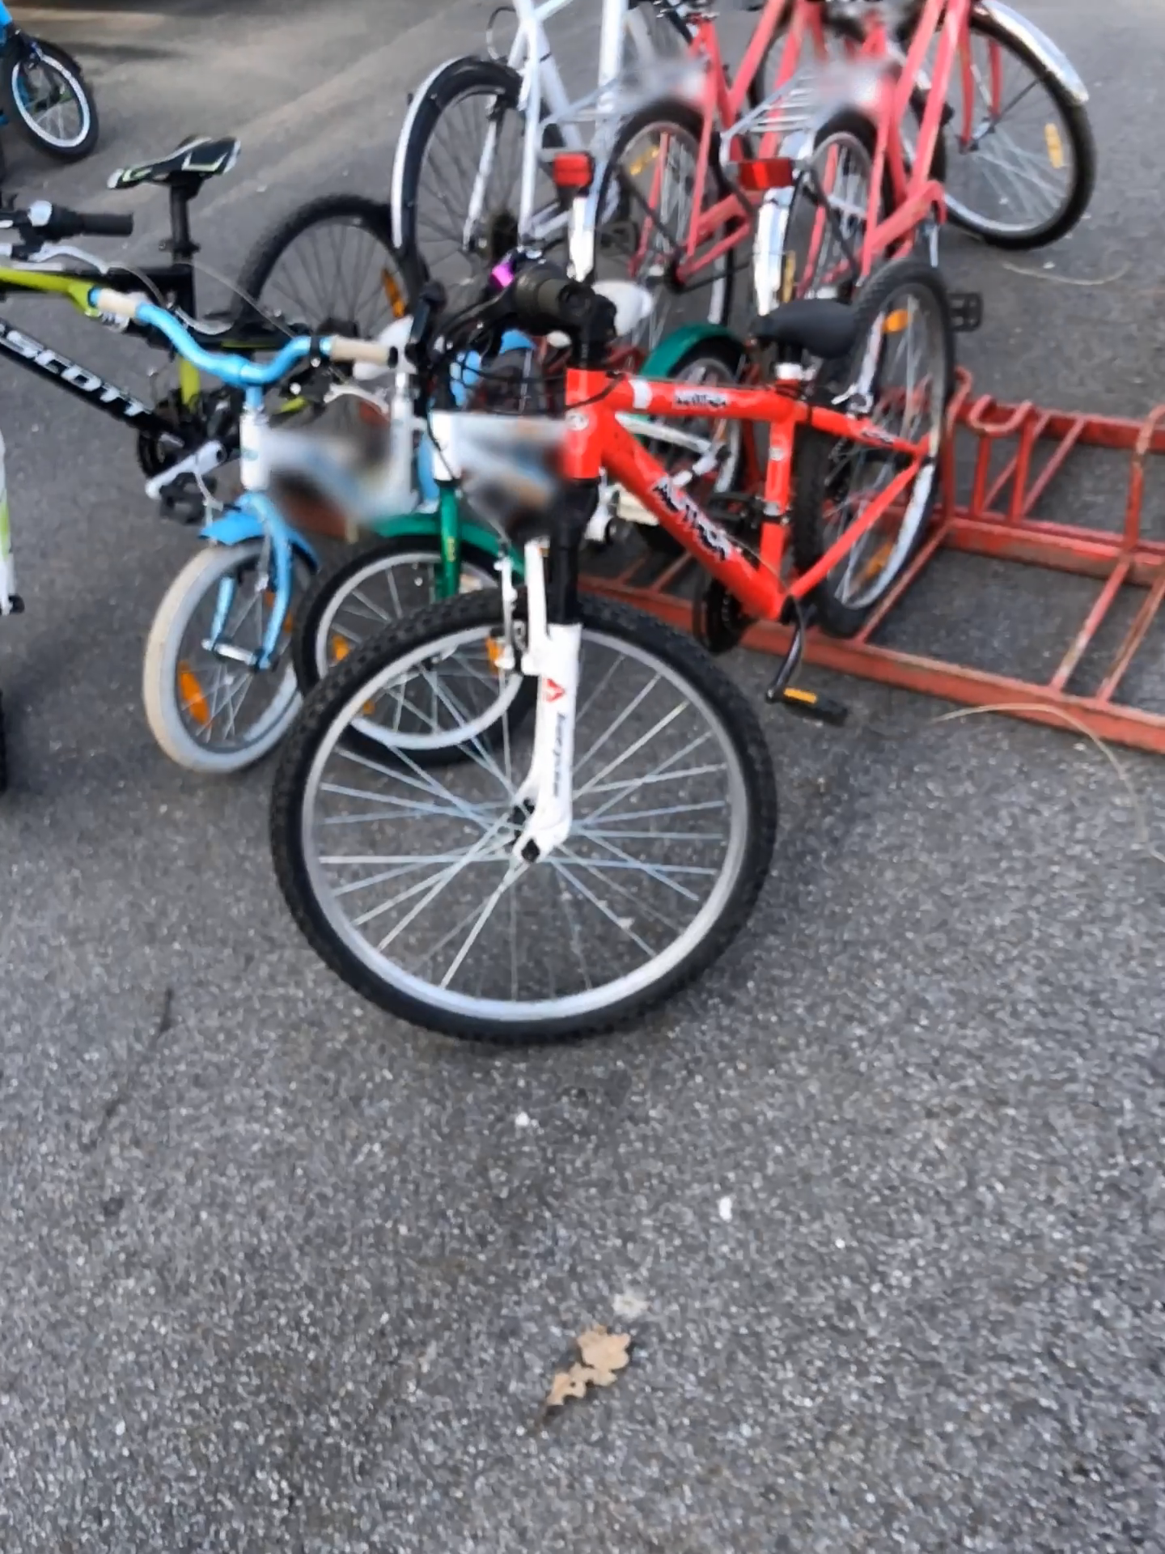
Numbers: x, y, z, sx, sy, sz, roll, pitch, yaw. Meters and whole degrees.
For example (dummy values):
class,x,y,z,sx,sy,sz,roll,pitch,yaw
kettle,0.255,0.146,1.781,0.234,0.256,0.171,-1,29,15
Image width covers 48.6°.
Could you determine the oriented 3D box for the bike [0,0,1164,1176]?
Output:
class,x,y,z,sx,sy,sz,roll,pitch,yaw
bike,0.182,-0.380,1.712,0.552,0.908,1.447,28,53,32
